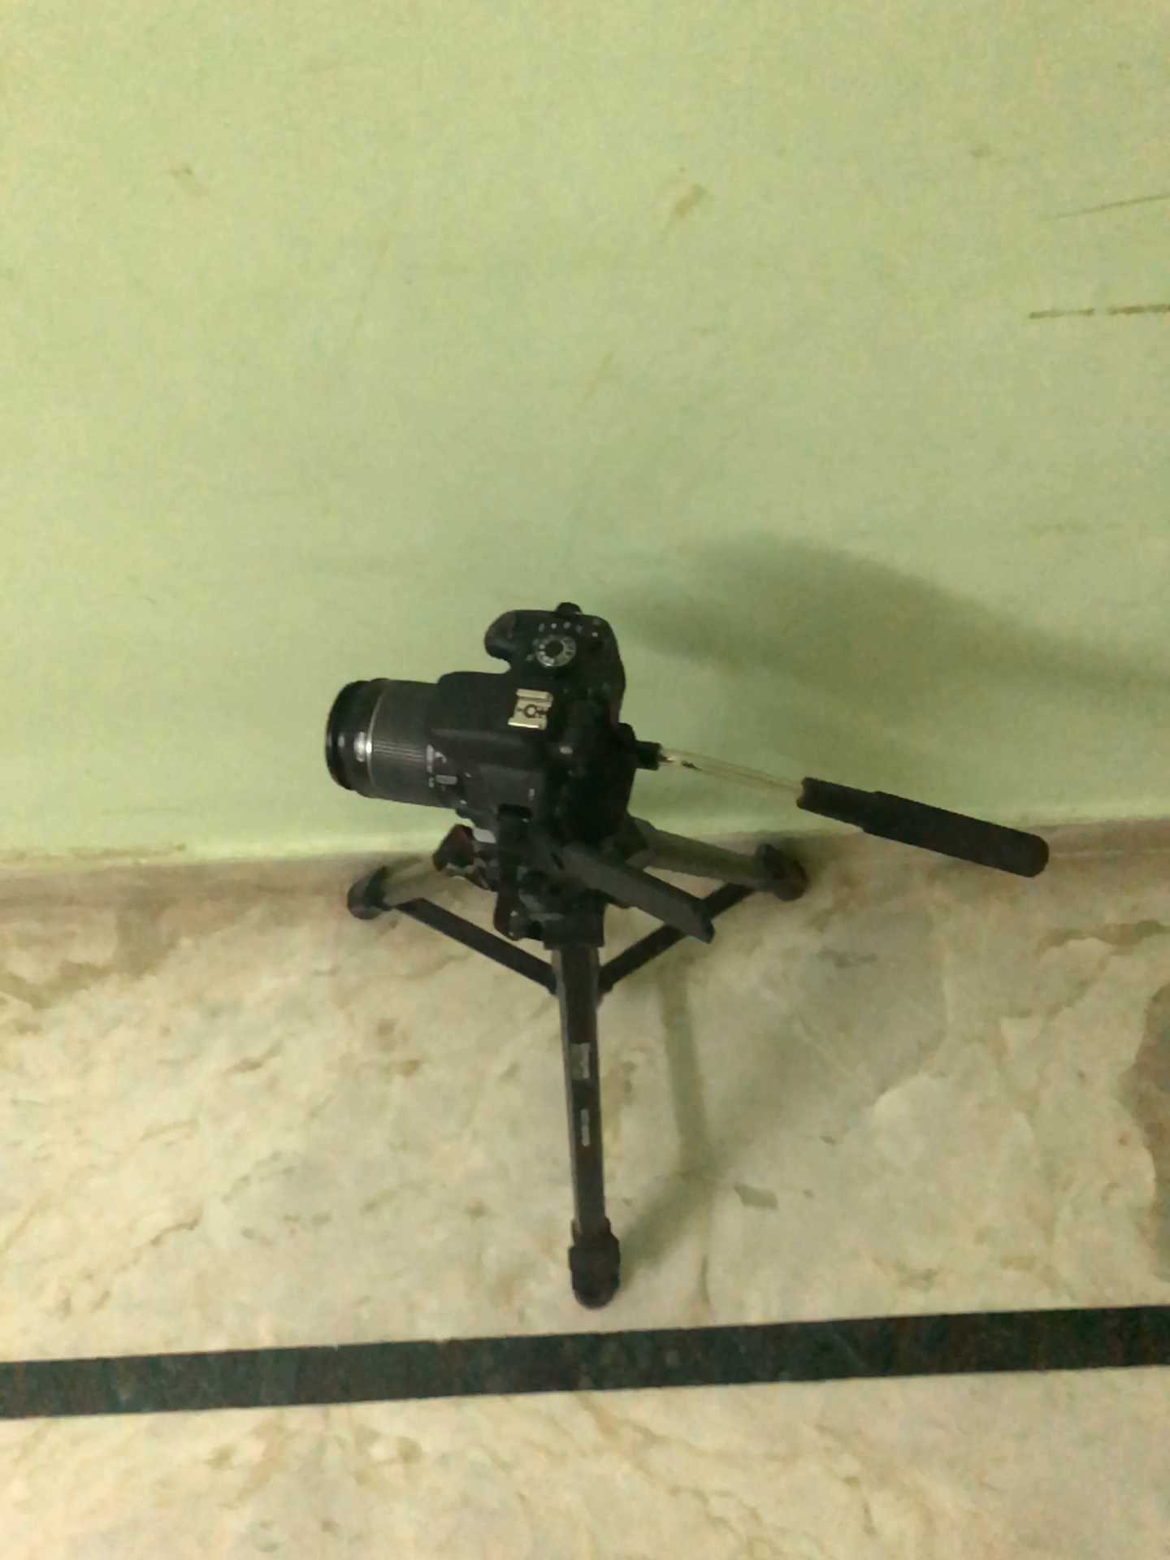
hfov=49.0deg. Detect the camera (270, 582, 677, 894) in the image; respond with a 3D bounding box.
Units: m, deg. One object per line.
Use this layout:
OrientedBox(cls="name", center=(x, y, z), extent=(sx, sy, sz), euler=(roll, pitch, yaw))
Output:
OrientedBox(cls="camera", center=(-0.053, -0.023, 0.711), extent=(0.190, 0.100, 0.130), euler=(4, 67, 9))
